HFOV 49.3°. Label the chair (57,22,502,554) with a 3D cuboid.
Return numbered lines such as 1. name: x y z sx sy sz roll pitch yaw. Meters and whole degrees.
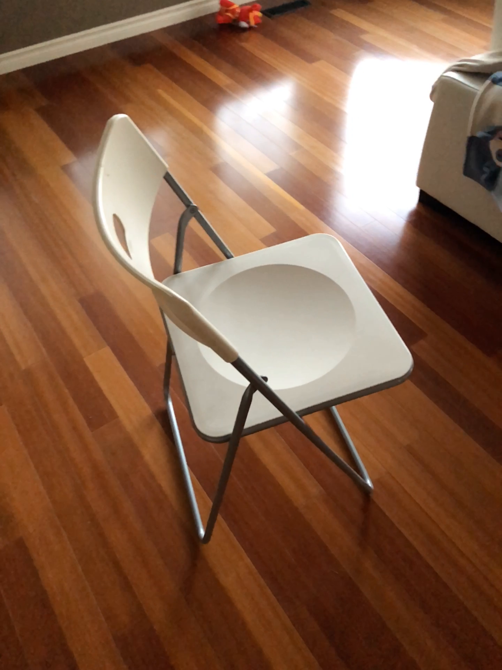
1. chair: 0.070 -0.059 0.870 0.540 0.576 0.463 -15 51 -10
